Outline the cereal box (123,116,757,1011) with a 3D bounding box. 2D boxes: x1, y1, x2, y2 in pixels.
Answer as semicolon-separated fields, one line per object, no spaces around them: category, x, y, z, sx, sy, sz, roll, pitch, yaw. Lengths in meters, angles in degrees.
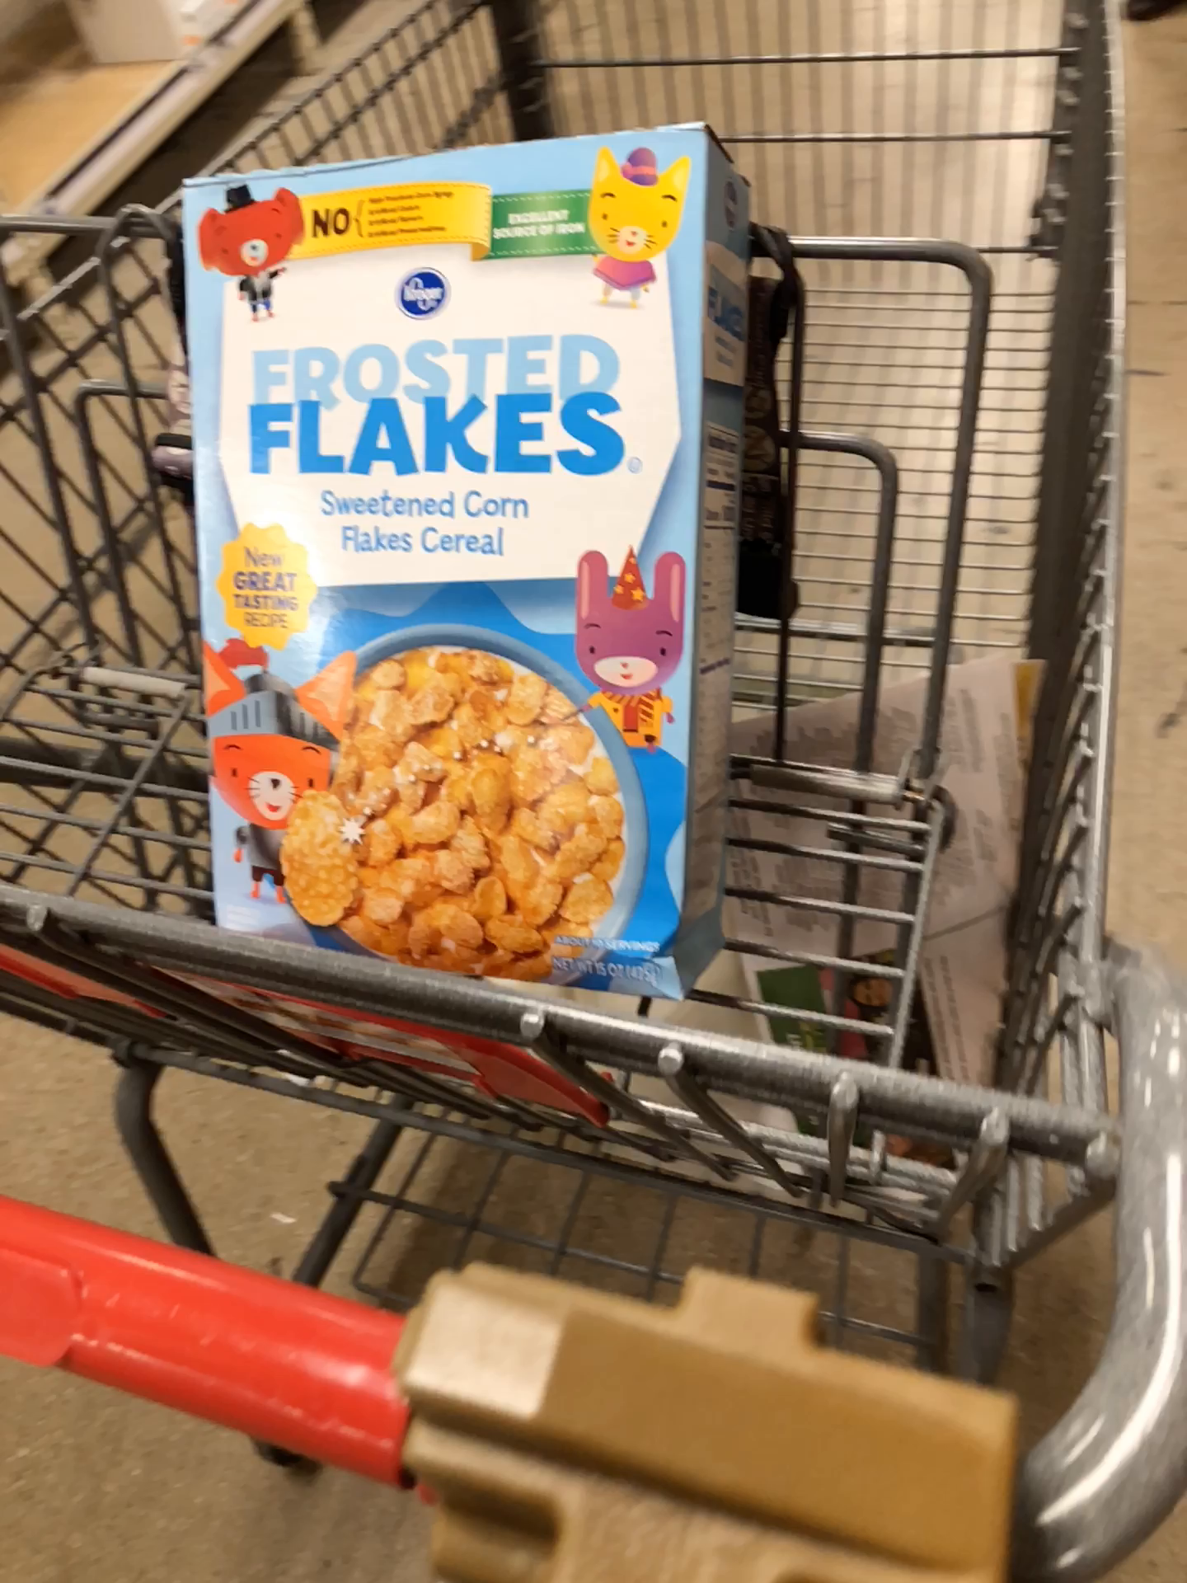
cereal box;-0.055;-0.075;0.461;0.200;0.270;0.070;4;9;15
